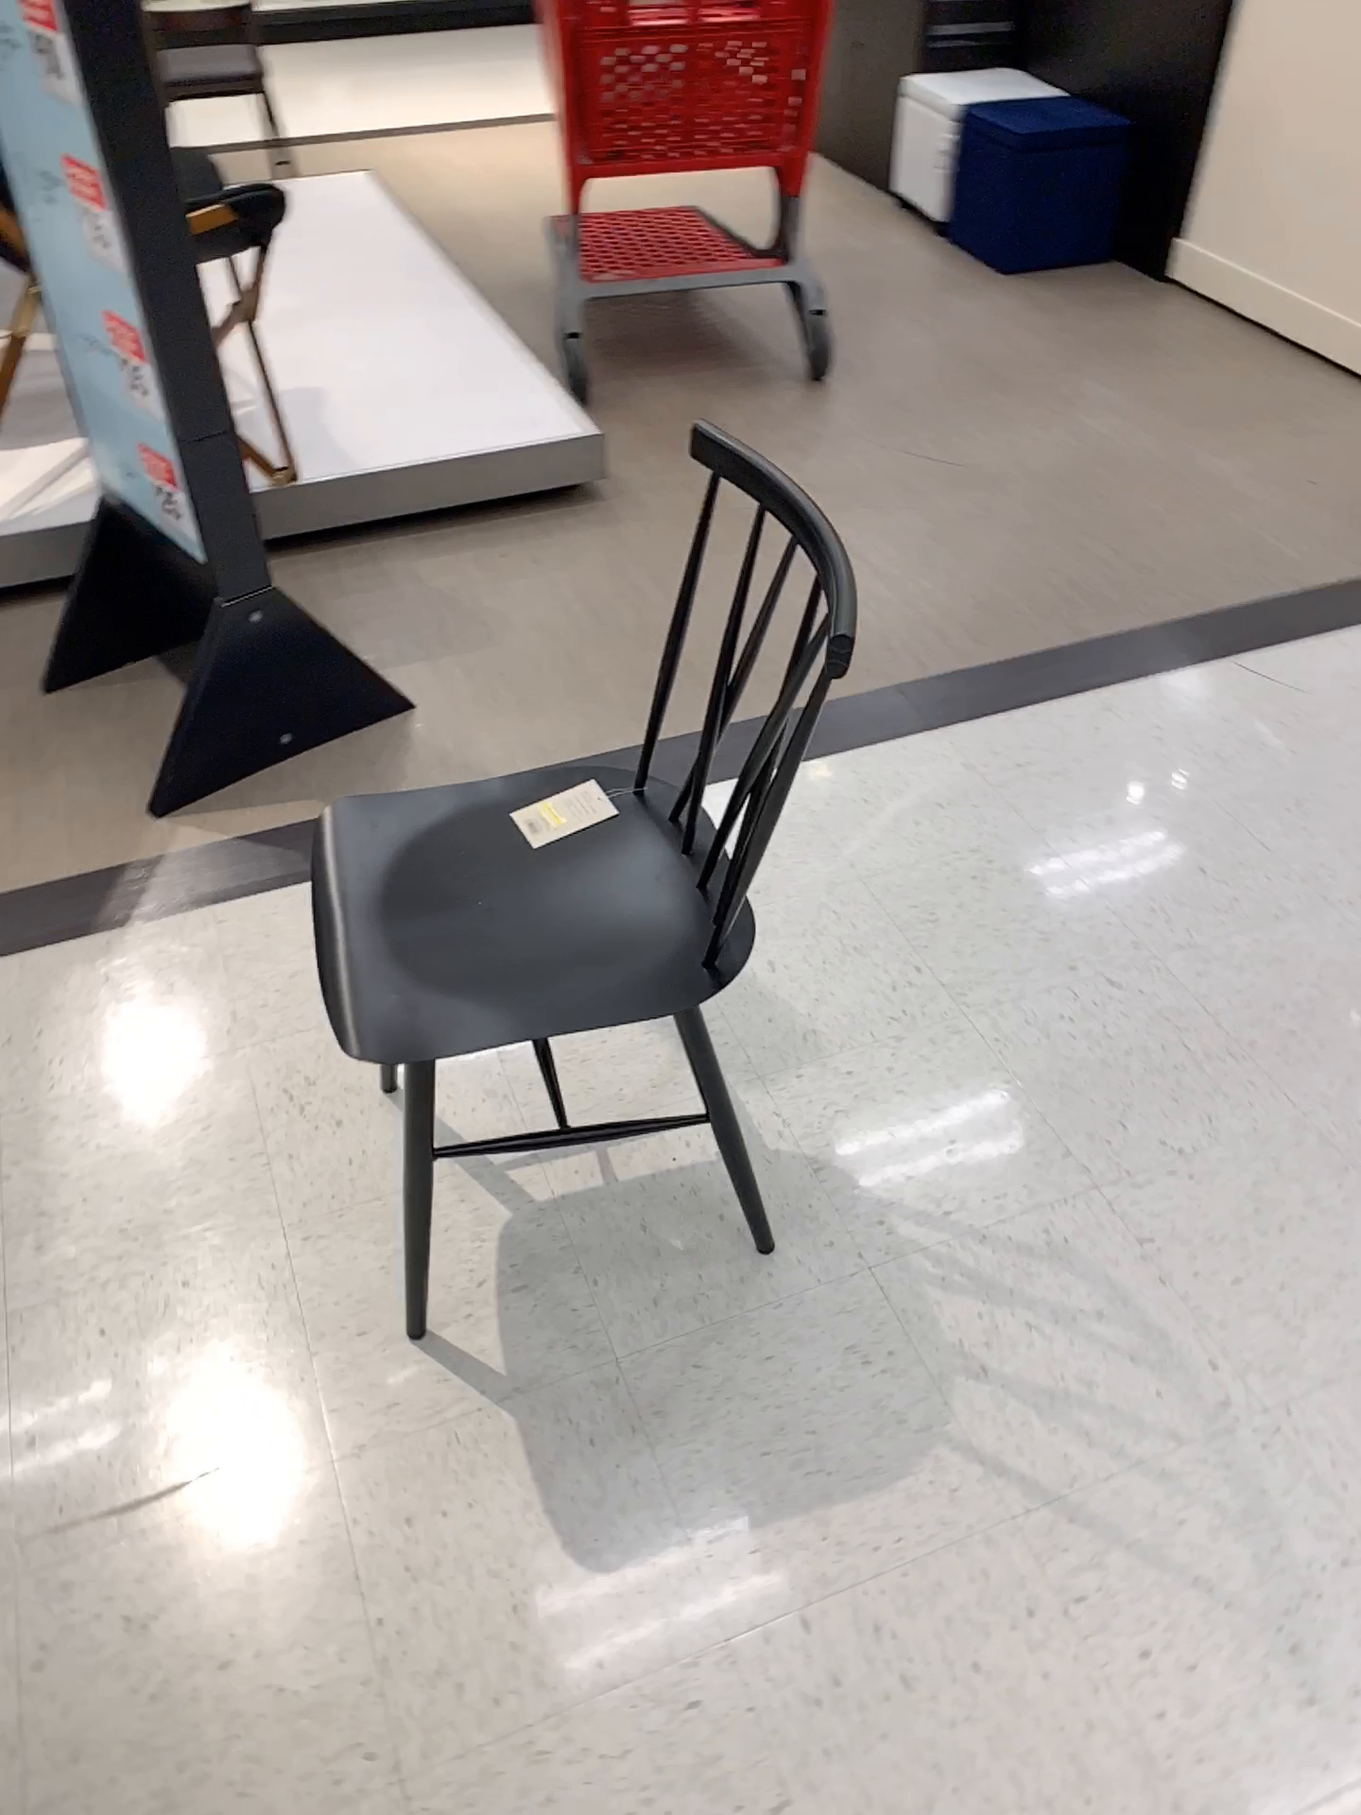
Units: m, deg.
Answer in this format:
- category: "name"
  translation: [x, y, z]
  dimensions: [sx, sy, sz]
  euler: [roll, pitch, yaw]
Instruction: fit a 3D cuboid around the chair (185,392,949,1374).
- category: "chair"
  translation: [-0.121, -0.018, 1.349]
  dimensions: [0.520, 0.736, 0.482]
  euler: [-11, 42, -11]
